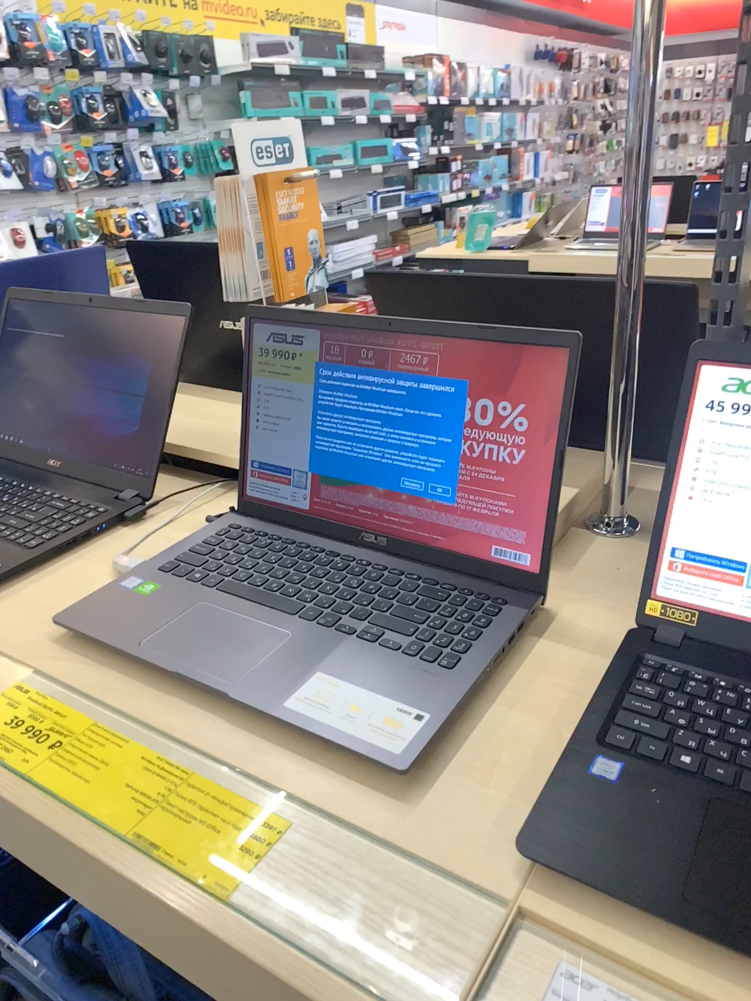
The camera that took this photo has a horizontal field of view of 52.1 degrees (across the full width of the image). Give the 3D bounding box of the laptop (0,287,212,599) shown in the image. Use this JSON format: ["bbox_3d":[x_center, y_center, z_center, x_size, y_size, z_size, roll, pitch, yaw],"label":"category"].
[{"bbox_3d":[-0.466,-0.104,0.908,0.350,0.214,0.362,13,29,30],"label":"laptop"}]

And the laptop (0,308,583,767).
[{"bbox_3d":[-0.059,-0.017,0.656,0.366,0.217,0.298,12,29,31],"label":"laptop"}]
